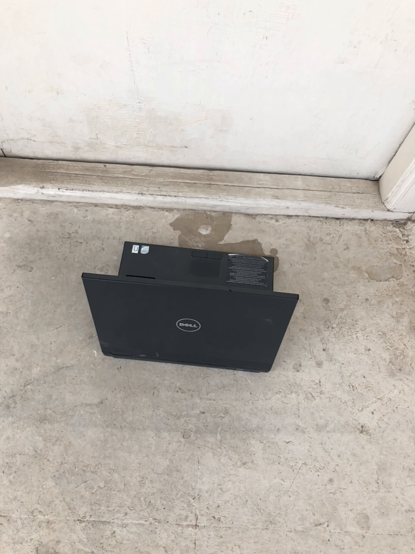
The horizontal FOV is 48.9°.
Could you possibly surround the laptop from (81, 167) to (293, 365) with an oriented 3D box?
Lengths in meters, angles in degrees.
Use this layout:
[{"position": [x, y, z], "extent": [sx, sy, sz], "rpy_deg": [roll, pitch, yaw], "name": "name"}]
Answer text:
[{"position": [-0.027, -0.003, 0.780], "extent": [0.279, 0.252, 0.224], "rpy_deg": [6, 66, 1], "name": "laptop"}]
